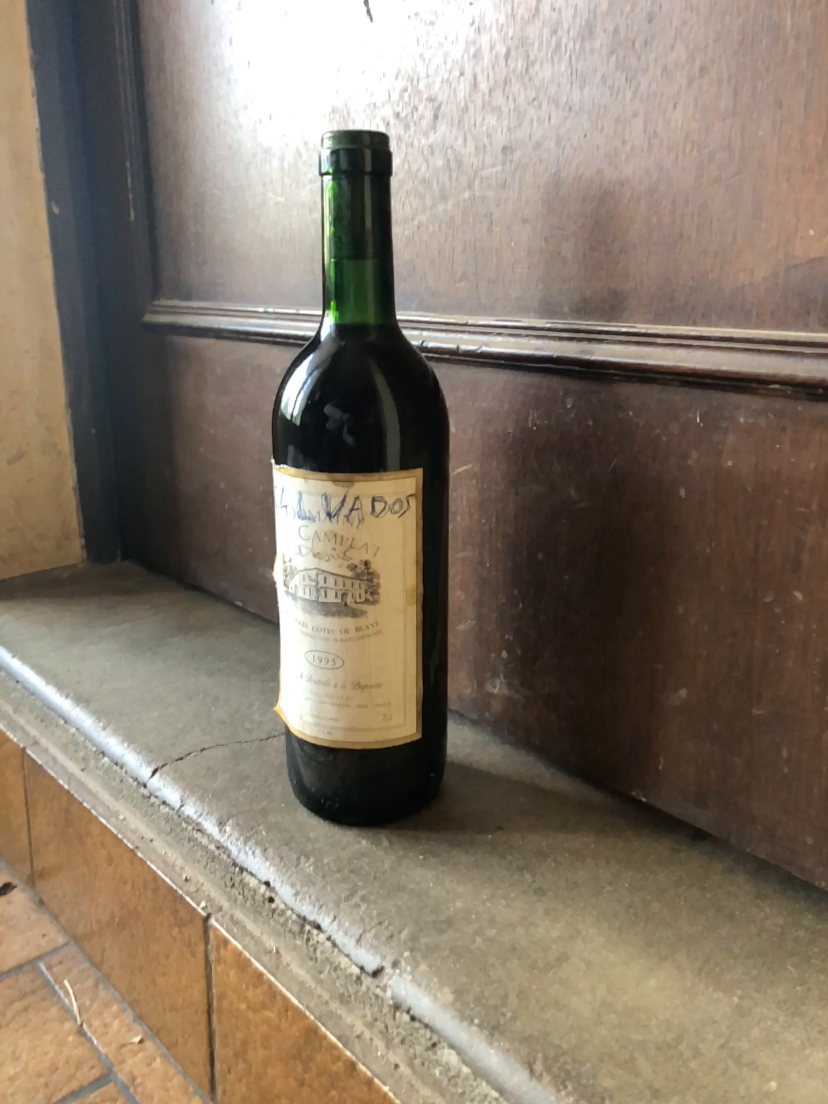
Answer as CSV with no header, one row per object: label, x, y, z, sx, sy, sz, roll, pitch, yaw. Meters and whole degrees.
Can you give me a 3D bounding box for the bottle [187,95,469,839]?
bottle,-0.029,-0.031,0.386,0.080,0.279,0.080,0,16,0
